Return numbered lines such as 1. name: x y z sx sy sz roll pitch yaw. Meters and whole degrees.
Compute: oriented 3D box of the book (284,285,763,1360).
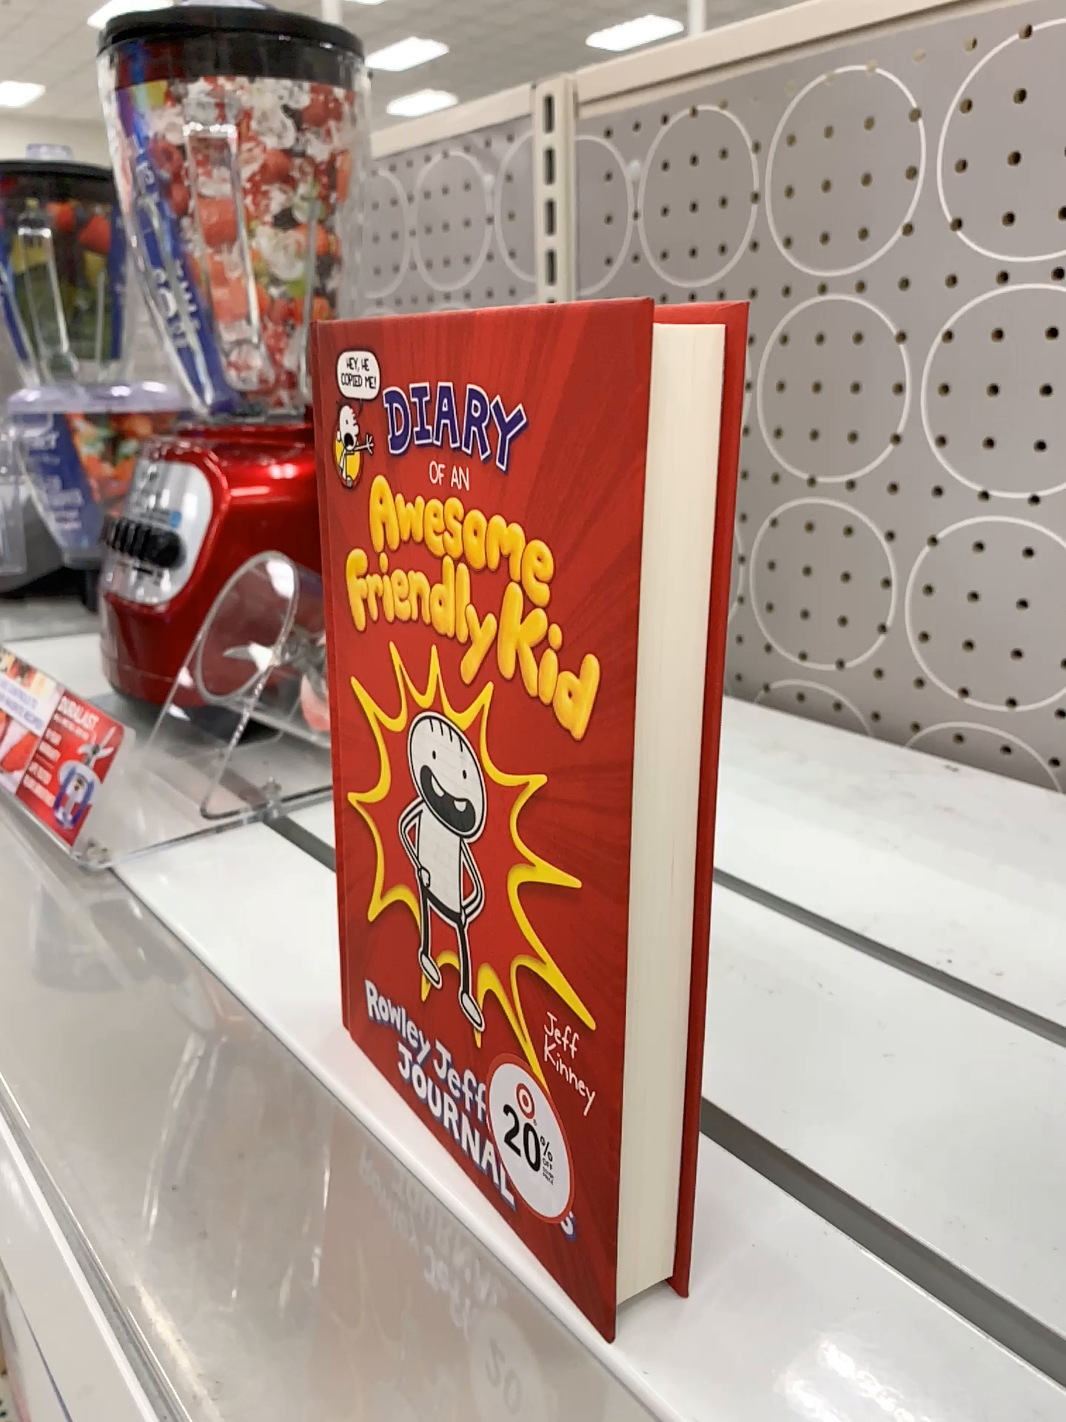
1. book: -0.014 0.015 0.265 0.030 0.209 0.140 -10 19 -33
